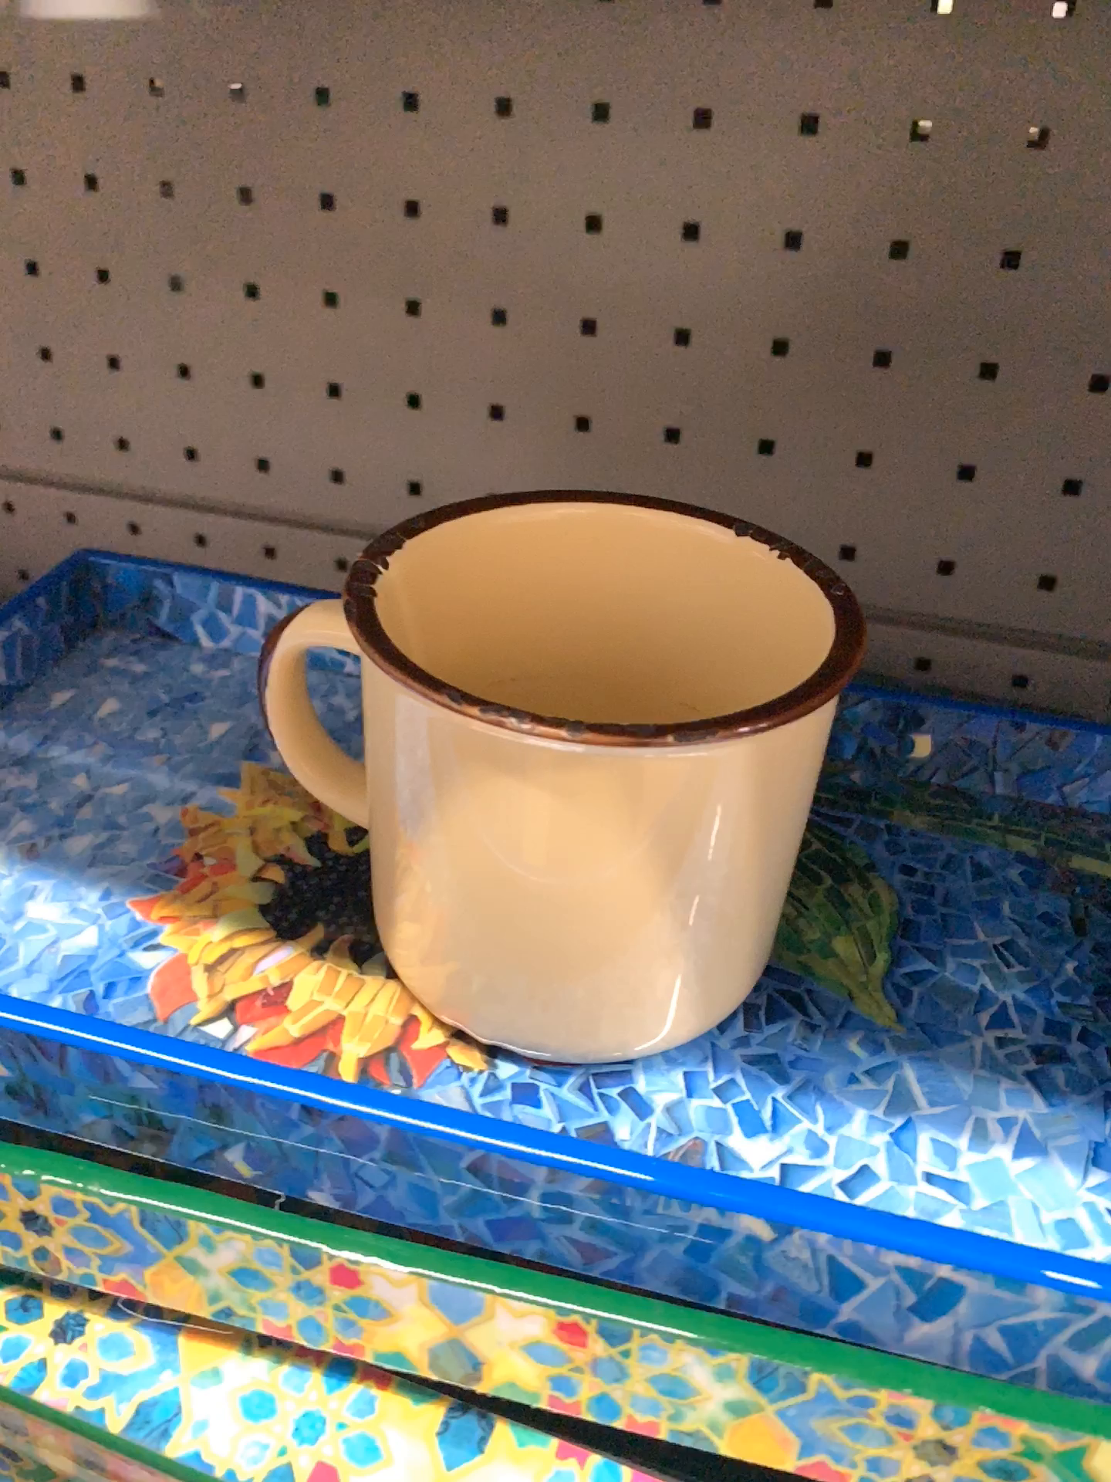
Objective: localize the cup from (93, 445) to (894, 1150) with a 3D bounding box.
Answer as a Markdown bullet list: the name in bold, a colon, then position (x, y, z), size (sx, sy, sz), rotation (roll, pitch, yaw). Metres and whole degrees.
- **cup**: position (-0.004, 0.001, 0.212), size (0.110, 0.070, 0.090), rotation (13, 32, 13)
